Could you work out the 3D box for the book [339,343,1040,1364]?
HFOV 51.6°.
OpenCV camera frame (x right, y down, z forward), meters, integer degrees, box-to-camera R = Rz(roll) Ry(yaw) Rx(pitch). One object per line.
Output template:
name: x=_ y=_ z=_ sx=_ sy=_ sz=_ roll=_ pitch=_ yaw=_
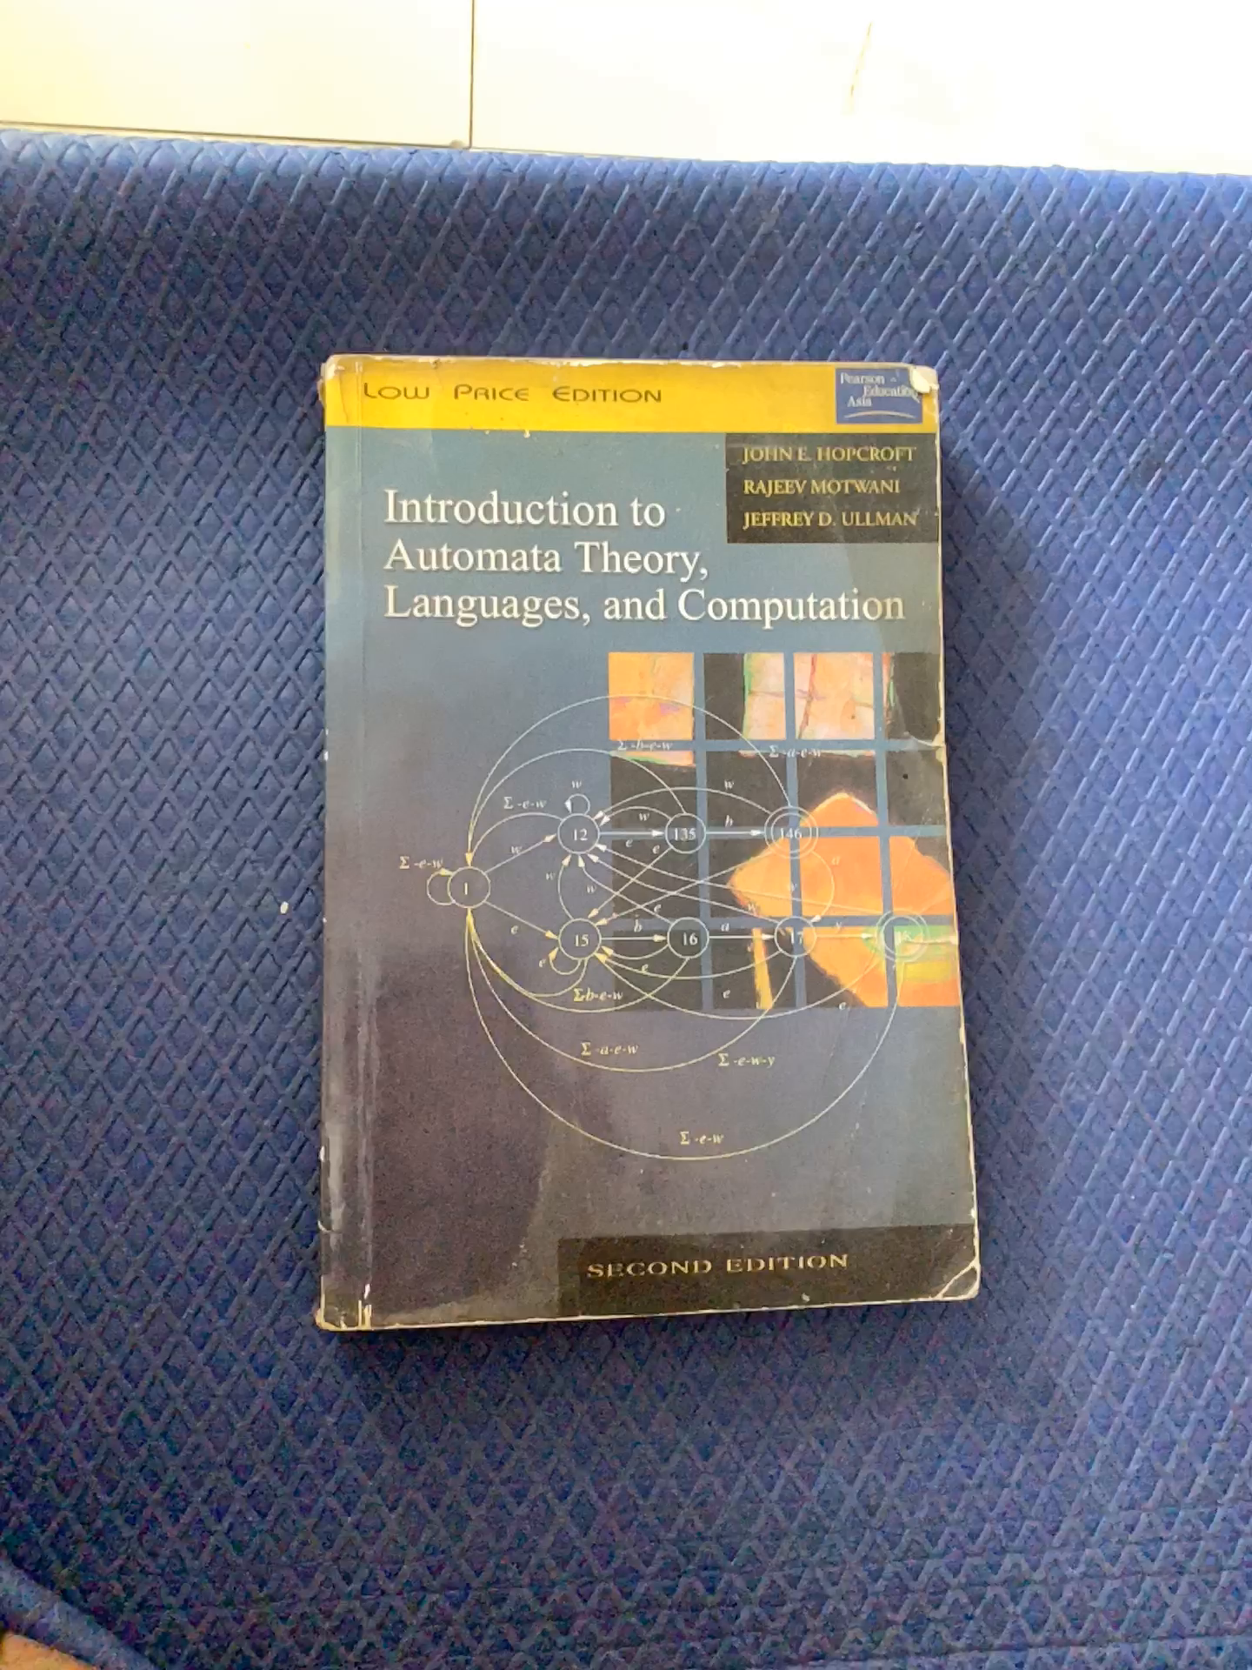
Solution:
book: x=0.010 y=-0.001 z=0.321 sx=0.150 sy=0.050 sz=0.230 roll=-2 pitch=82 yaw=-5
